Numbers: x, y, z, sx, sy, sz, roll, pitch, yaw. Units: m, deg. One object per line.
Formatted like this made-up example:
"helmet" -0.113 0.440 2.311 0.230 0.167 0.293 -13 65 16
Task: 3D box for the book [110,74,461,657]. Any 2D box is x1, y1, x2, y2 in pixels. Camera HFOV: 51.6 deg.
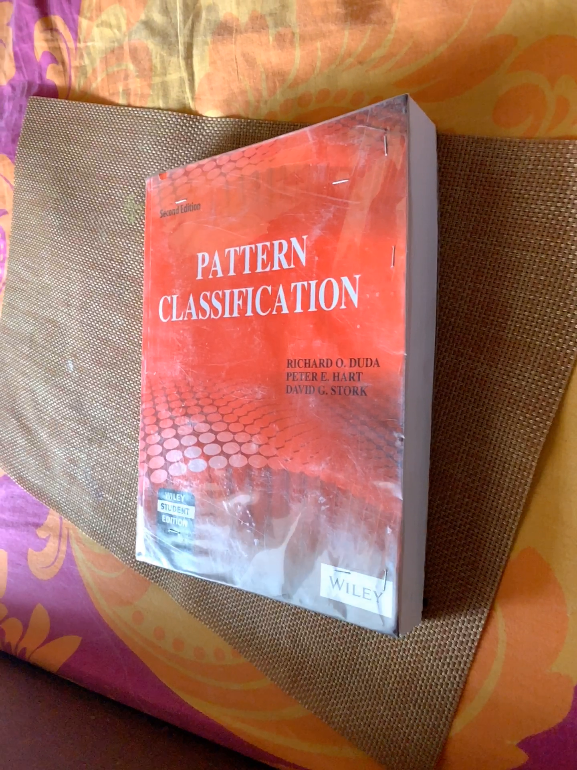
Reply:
"book" -0.012 -0.010 0.304 0.181 0.040 0.230 2 89 36
